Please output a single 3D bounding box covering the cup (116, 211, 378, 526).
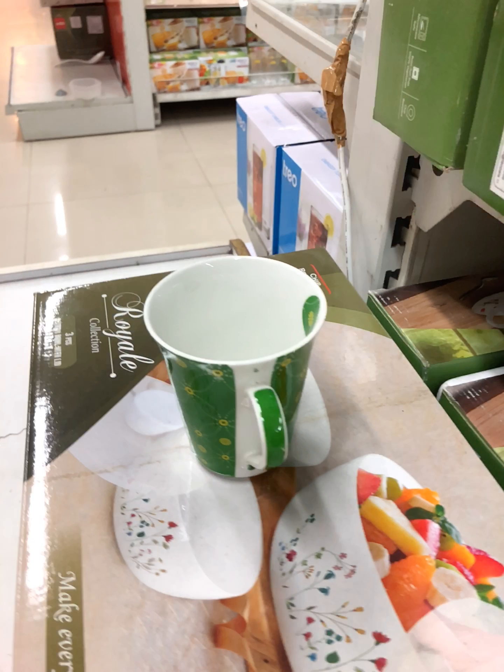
[{"bbox_3d":[-0.010,0.009,0.275,0.090,0.089,0.111,-10,40,-13],"label":"cup"}]
